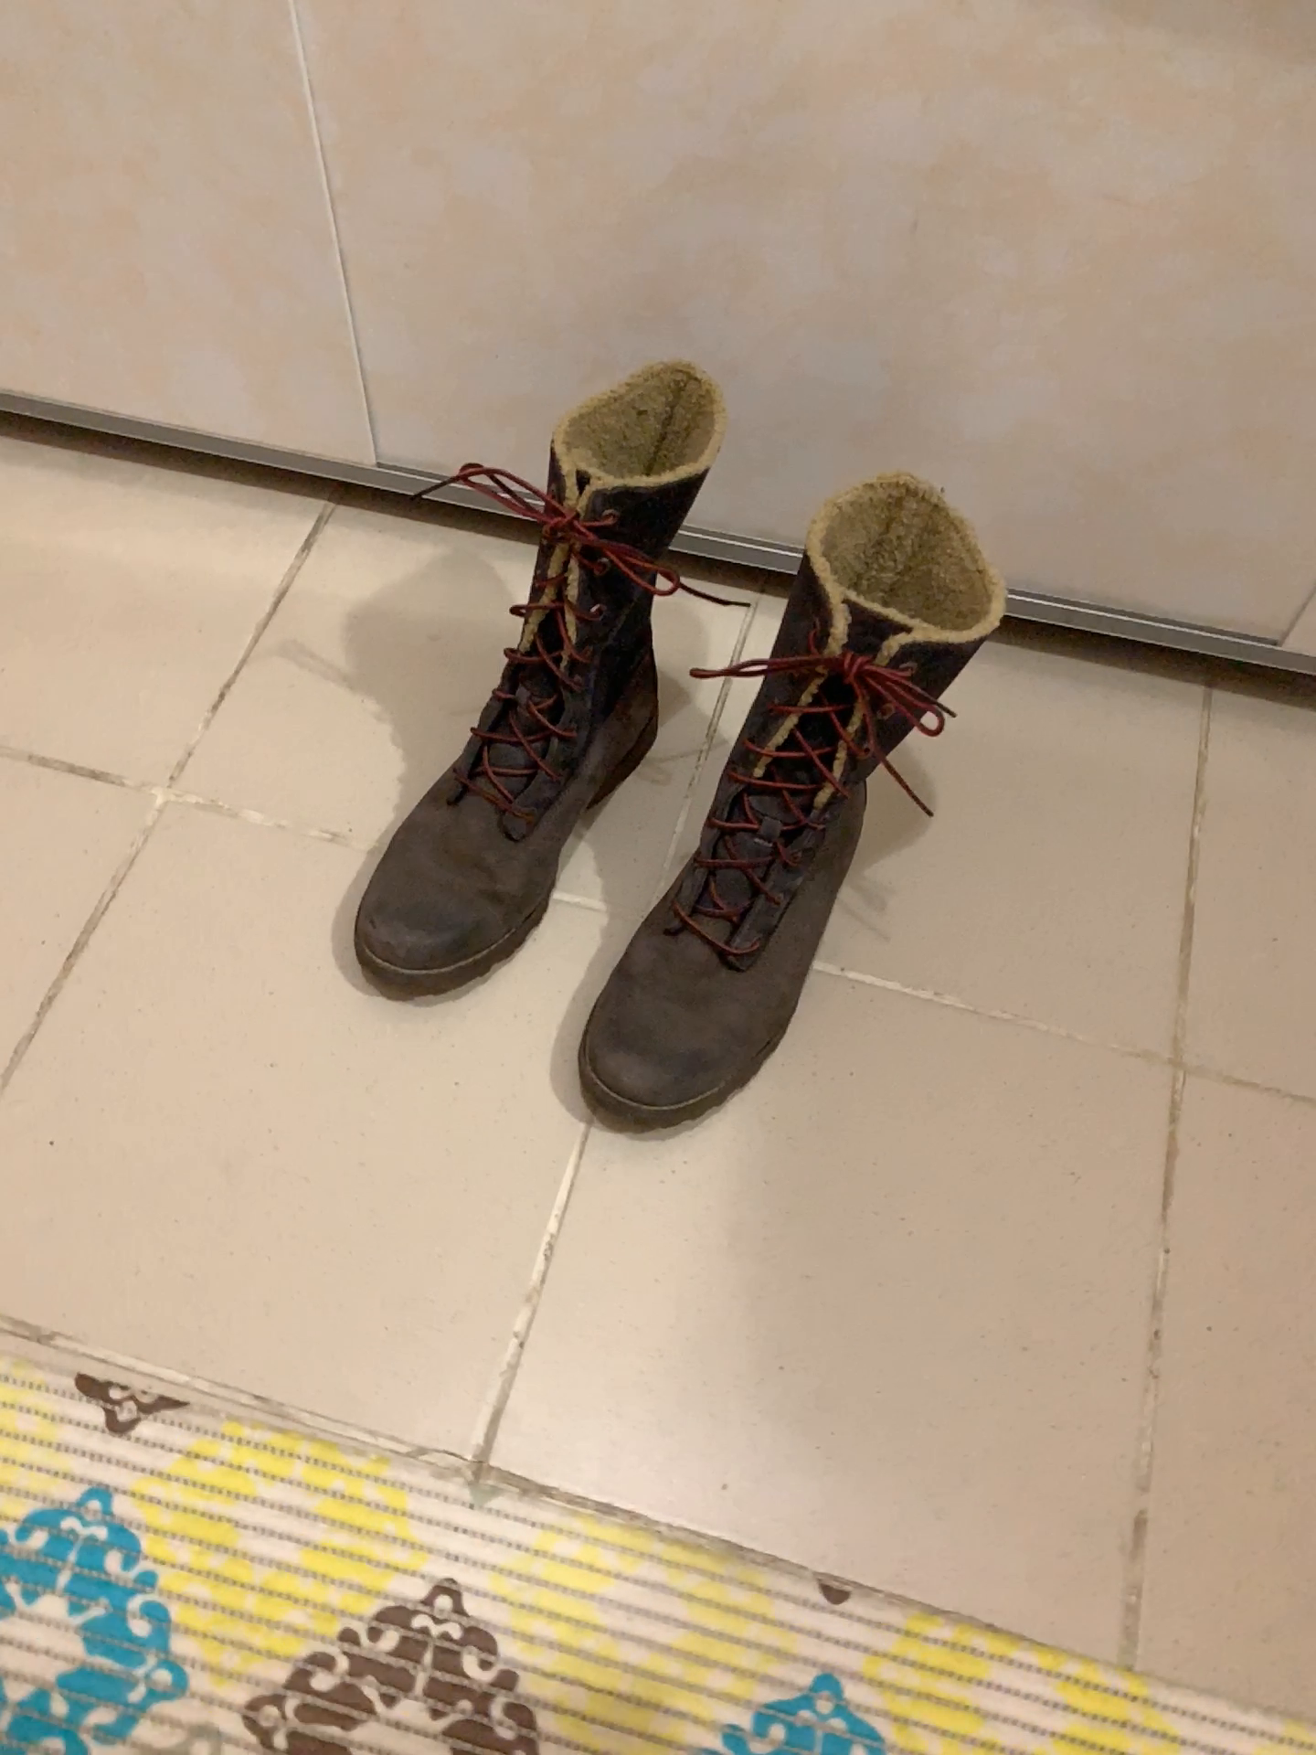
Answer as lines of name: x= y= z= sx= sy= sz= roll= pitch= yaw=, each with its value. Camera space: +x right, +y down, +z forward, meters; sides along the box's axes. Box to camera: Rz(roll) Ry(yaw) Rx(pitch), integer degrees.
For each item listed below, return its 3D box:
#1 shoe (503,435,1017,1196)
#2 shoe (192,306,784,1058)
shoe: x=0.057 y=-0.021 z=0.675 sx=0.100 sy=0.249 sz=0.280 roll=25 pitch=65 yaw=16
shoe: x=-0.073 y=-0.089 z=0.678 sx=0.100 sy=0.249 sz=0.280 roll=32 pitch=63 yaw=11
